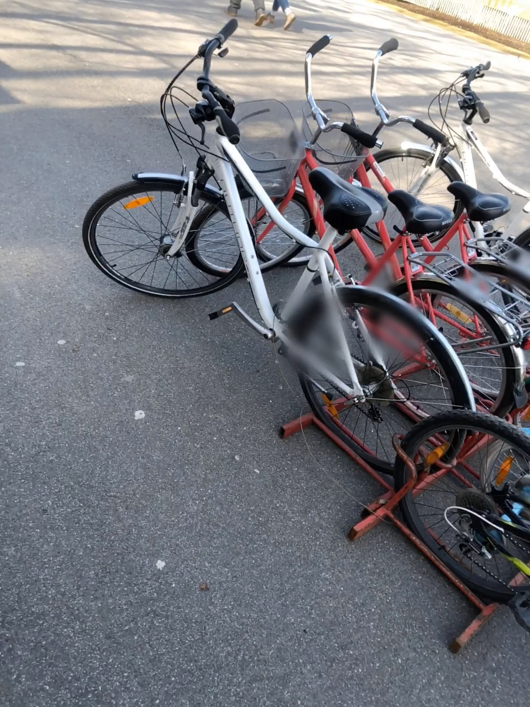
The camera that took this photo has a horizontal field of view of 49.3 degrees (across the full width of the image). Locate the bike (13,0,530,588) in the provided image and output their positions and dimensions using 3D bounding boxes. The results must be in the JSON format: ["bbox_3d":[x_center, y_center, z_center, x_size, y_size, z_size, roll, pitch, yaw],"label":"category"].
[{"bbox_3d":[-0.011,-0.277,1.868,1.602,1.163,0.622,32,37,20],"label":"bike"}]
